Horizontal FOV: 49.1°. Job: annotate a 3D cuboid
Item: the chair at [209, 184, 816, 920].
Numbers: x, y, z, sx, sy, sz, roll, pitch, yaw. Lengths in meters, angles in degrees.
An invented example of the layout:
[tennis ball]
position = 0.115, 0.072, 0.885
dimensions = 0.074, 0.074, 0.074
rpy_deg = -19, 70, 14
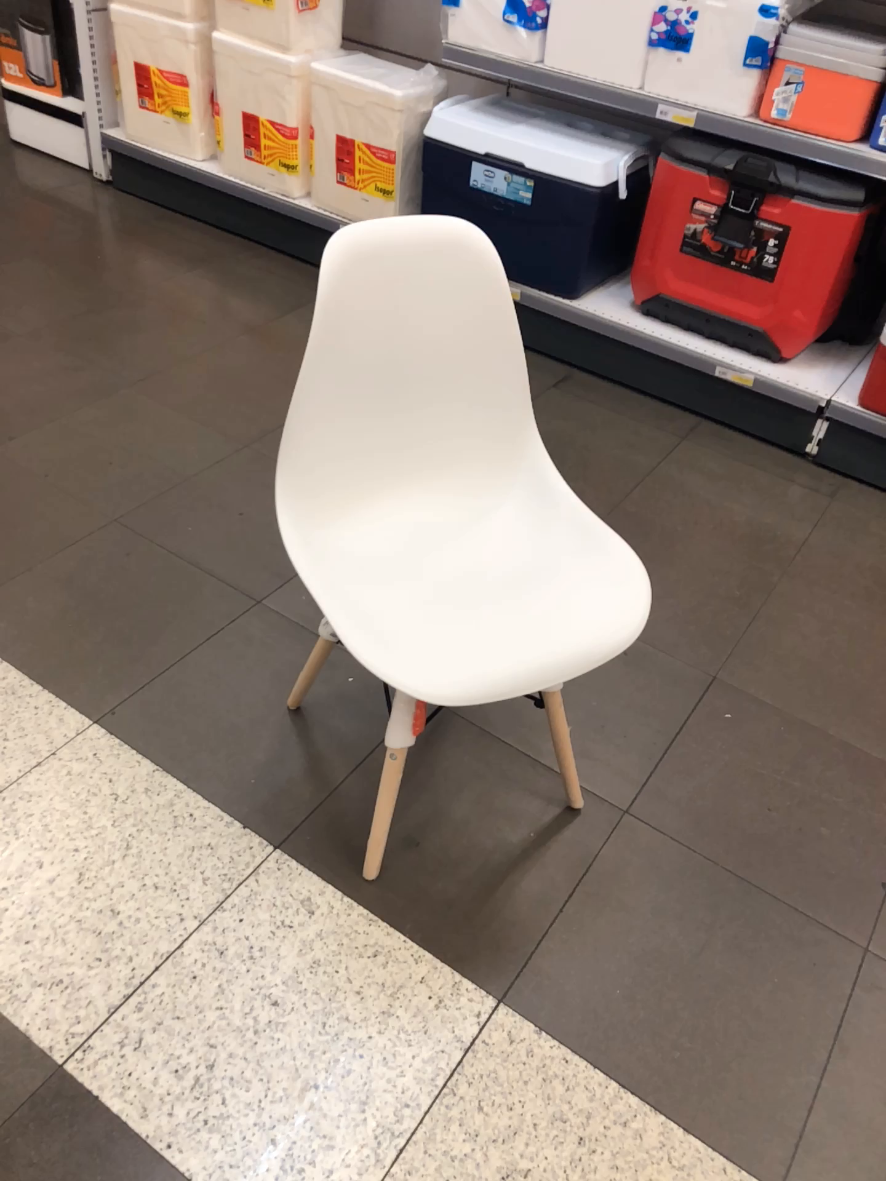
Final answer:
[chair]
position = 0.011, -0.066, 1.363
dimensions = 0.521, 0.794, 0.543
rpy_deg = -11, 42, -21
